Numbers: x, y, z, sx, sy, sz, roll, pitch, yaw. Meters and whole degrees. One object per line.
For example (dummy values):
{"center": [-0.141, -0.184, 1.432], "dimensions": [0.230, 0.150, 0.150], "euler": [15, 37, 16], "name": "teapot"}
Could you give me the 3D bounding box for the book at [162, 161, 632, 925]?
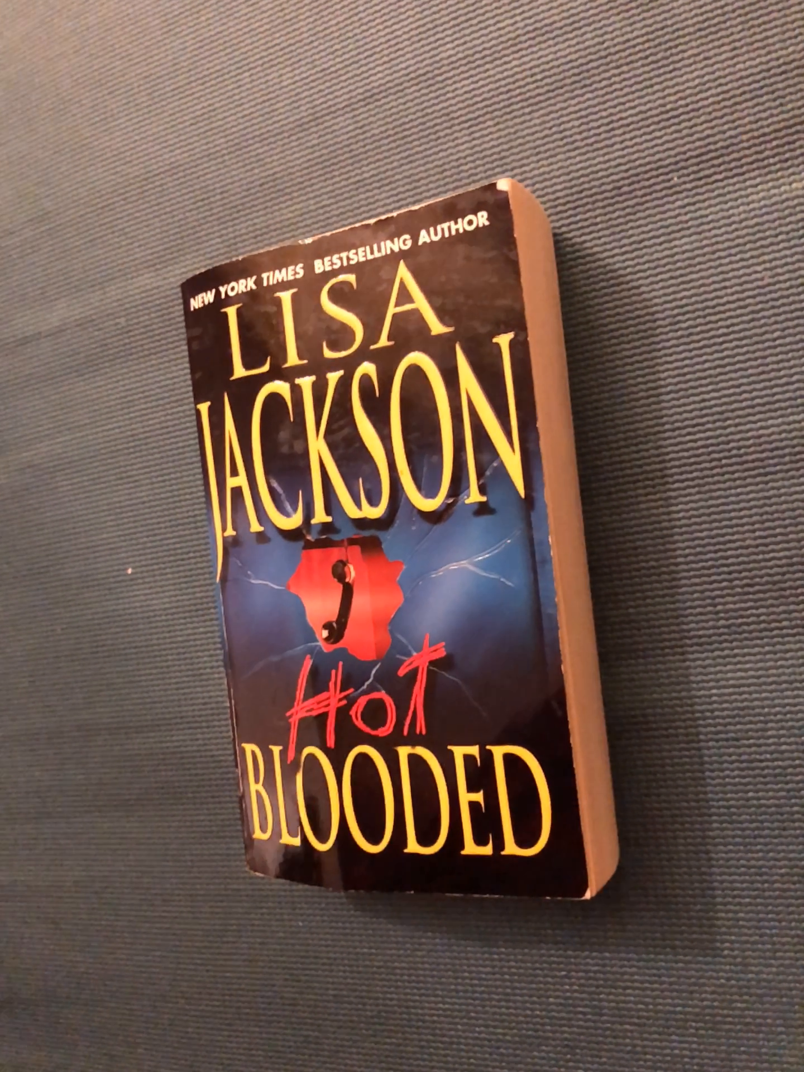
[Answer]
{"center": [-0.004, 0.005, 0.241], "dimensions": [0.103, 0.040, 0.171], "euler": [-6, 90, 29], "name": "book"}
